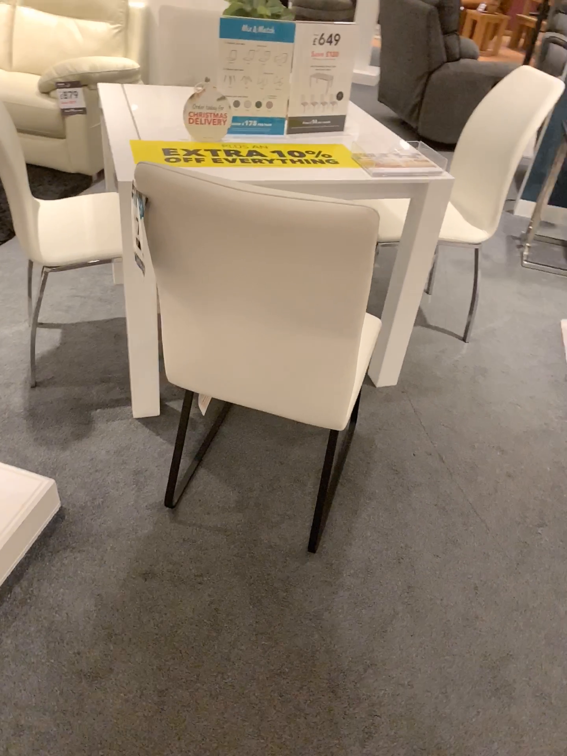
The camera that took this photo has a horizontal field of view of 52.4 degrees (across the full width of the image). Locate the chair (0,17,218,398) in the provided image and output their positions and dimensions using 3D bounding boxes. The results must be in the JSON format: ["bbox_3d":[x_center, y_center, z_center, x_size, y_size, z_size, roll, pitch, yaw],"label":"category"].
[{"bbox_3d":[-0.598,-0.503,1.743,0.641,0.901,0.524,-9,41,-21],"label":"chair"}]

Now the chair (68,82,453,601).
[{"bbox_3d":[-0.020,-0.091,1.320,0.540,0.882,0.636,14,38,9],"label":"chair"}]

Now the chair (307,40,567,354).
[{"bbox_3d":[0.501,-0.622,2.046,0.600,0.882,0.555,-4,39,-15],"label":"chair"}]
